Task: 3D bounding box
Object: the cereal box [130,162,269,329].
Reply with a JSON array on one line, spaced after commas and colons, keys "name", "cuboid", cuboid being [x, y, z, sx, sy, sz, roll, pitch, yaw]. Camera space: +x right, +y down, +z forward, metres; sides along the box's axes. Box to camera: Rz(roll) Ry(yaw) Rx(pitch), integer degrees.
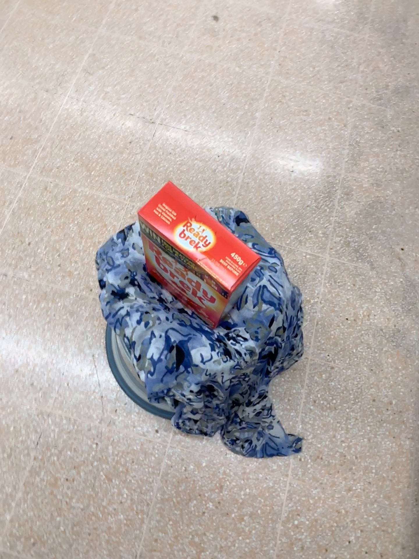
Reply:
[{"name": "cereal box", "cuboid": [-0.023, -0.032, 0.625, 0.170, 0.239, 0.060, 41, 73, 9]}]
